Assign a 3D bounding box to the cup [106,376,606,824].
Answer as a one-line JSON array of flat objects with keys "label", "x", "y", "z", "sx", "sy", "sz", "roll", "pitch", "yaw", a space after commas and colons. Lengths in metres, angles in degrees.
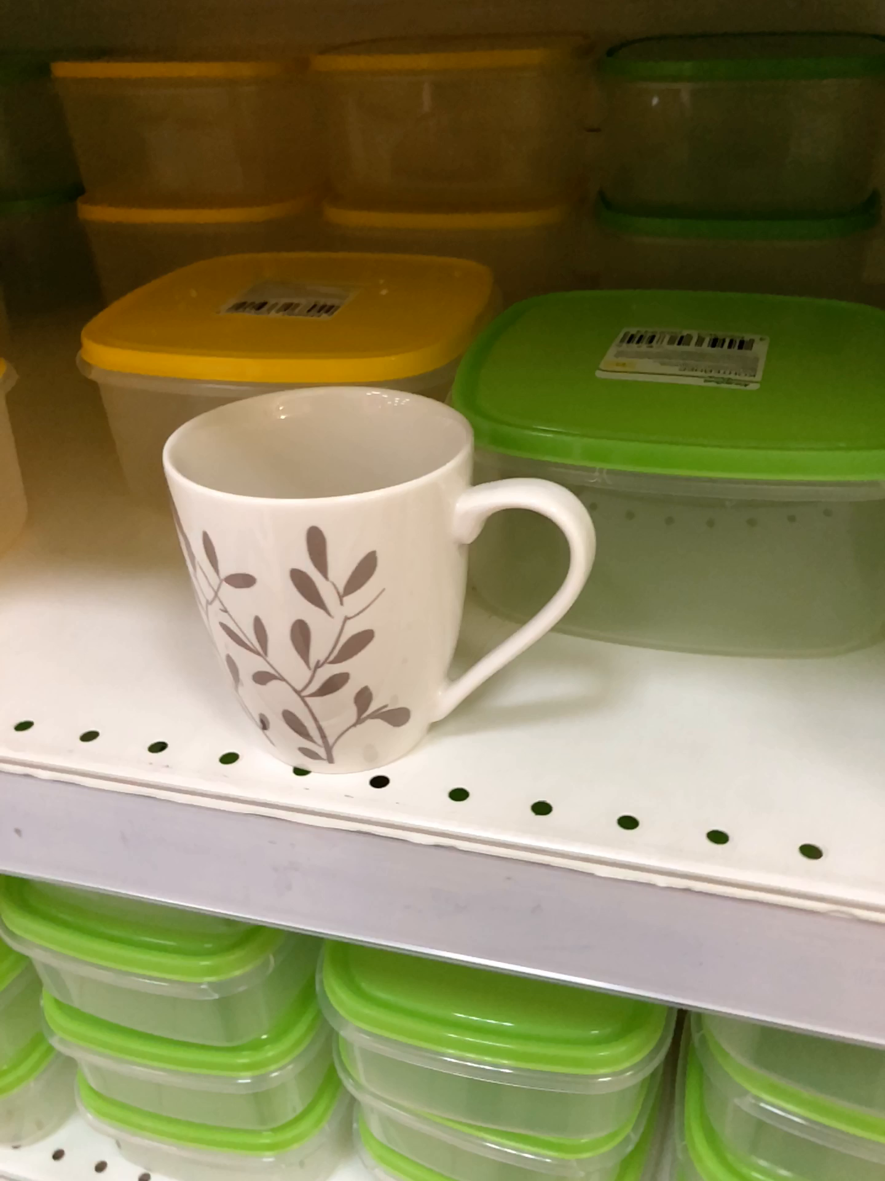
[{"label": "cup", "x": -0.015, "y": -0.002, "z": 0.298, "sx": 0.121, "sy": 0.097, "sz": 0.086, "roll": 4, "pitch": 33, "yaw": 10}]
